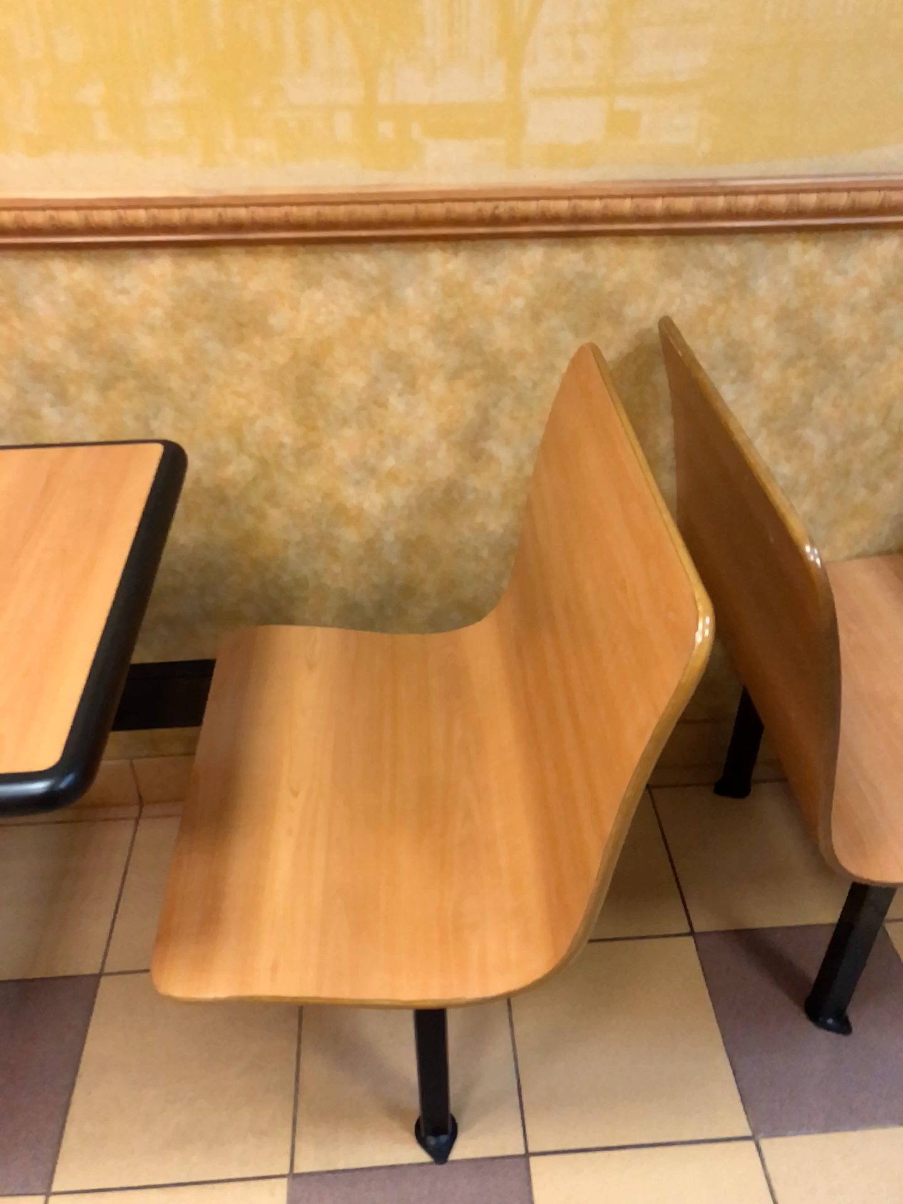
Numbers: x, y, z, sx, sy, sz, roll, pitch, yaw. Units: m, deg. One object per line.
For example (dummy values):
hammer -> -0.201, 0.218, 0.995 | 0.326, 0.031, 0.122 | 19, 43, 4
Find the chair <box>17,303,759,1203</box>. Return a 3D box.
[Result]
chair -> -0.056, 0.188, 1.190 | 0.510, 0.885, 0.633 | -2, 37, -2
